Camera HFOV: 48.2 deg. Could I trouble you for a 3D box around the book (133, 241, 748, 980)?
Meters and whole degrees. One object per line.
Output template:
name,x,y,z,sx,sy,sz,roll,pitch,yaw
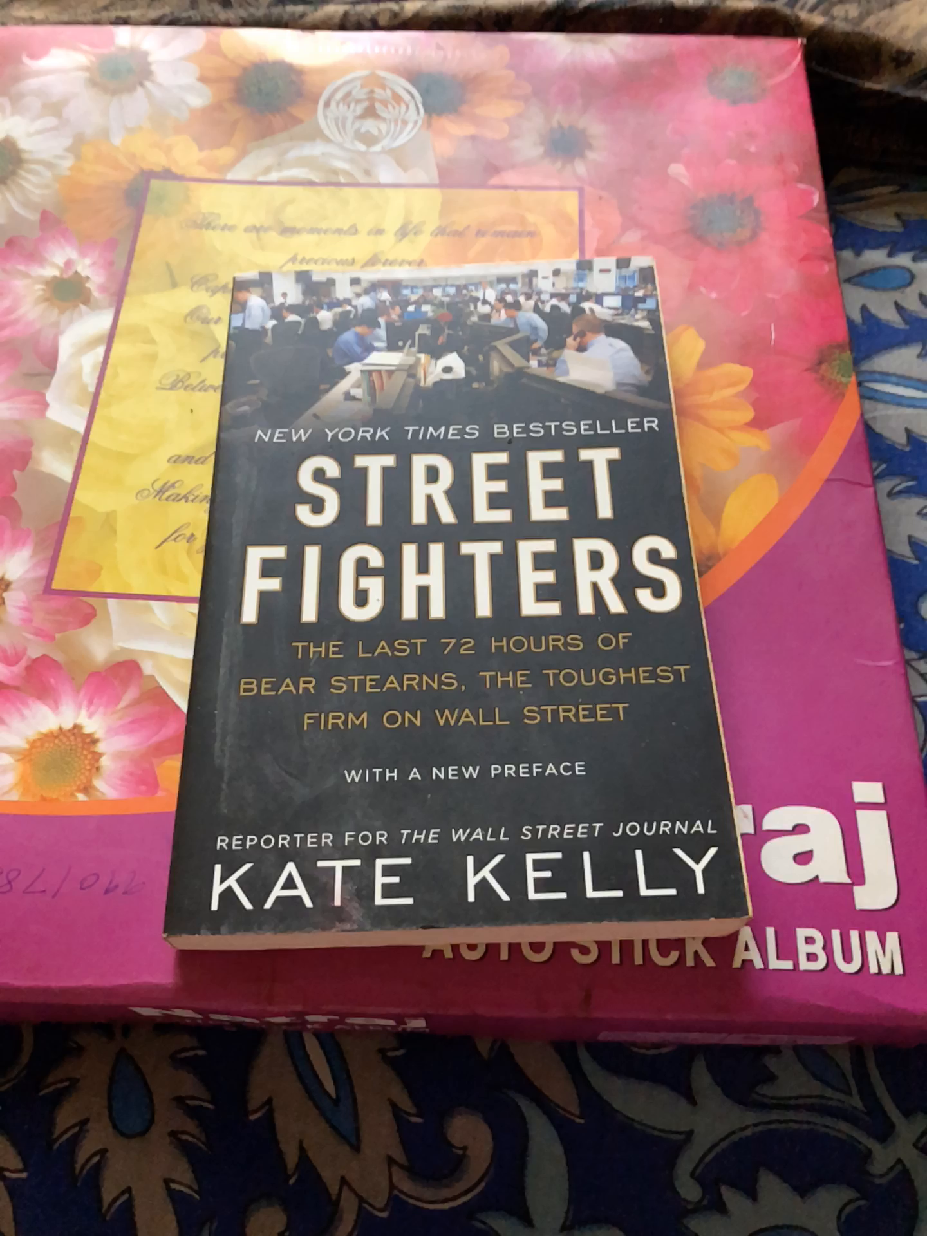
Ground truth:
book,-0.007,-0.012,0.294,0.140,0.030,0.210,-3,64,4
